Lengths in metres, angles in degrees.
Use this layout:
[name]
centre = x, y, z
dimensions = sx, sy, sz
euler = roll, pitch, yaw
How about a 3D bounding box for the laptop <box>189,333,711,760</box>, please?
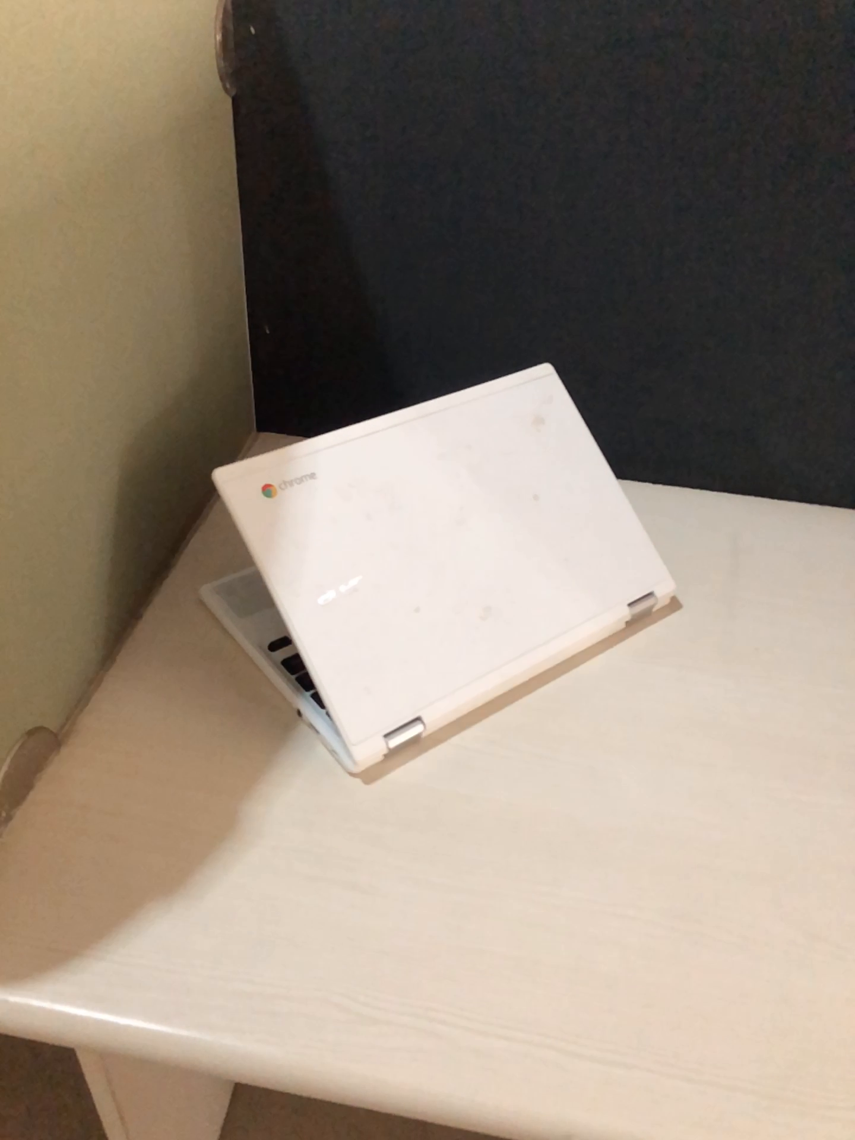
[laptop]
centre = 0.017, -0.037, 0.638
dimensions = 0.286, 0.114, 0.187
euler = -24, 47, -31
